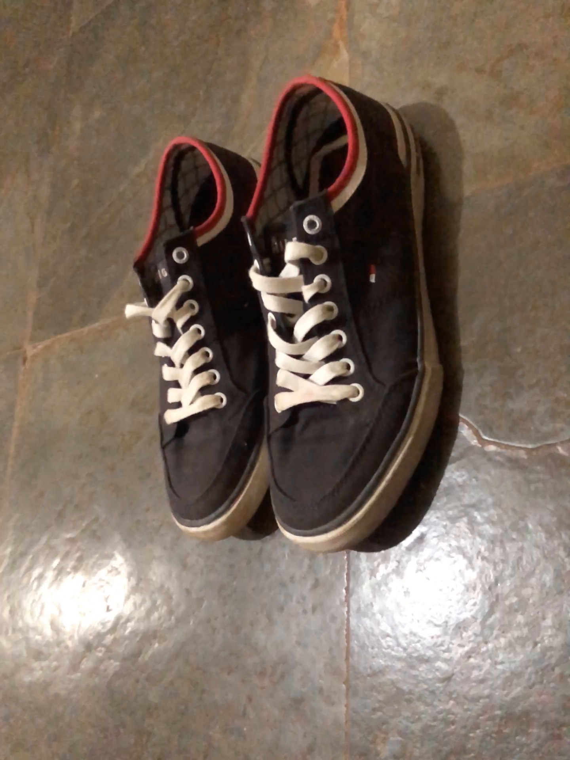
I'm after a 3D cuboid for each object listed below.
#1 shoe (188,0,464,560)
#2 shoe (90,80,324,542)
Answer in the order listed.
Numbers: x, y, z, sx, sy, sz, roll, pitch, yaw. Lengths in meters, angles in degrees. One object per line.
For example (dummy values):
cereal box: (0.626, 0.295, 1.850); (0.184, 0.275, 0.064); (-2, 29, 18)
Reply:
shoe: (0.033, -0.054, 0.375); (0.110, 0.100, 0.300); (-7, 72, 39)
shoe: (-0.047, -0.038, 0.443); (0.110, 0.100, 0.291); (-12, 69, 37)
